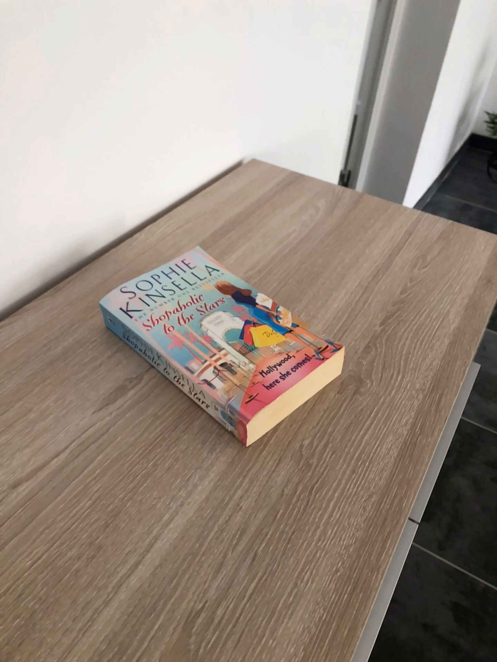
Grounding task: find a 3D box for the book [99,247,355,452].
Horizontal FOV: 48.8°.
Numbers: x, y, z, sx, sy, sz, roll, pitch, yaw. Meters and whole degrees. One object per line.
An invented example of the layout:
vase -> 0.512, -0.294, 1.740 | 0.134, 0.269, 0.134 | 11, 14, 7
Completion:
book -> -0.024, 0.003, 0.510 | 0.200, 0.040, 0.131 | 35, 49, 29
